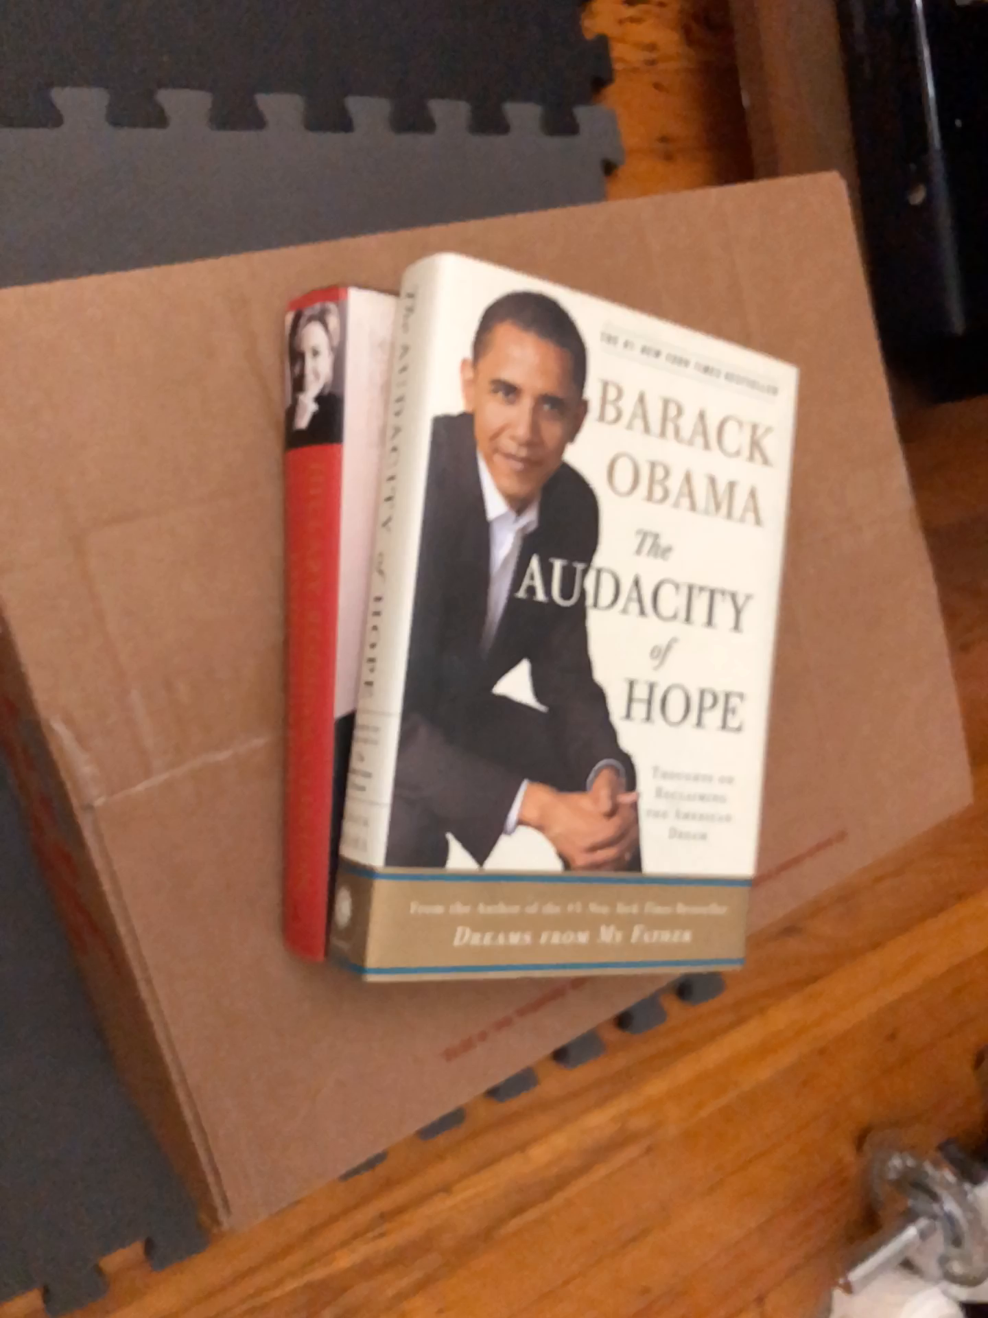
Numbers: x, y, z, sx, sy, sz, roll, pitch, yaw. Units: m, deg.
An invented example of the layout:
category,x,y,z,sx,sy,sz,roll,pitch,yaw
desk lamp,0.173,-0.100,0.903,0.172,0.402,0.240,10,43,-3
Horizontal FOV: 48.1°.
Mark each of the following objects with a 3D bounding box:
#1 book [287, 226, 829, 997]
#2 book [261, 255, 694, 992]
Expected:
category,x,y,z,sx,sy,sz,roll,pitch,yaw
book,0.033,-0.007,0.421,0.191,0.040,0.250,8,87,-30
book,-0.002,-0.012,0.436,0.171,0.040,0.250,0,90,-30
